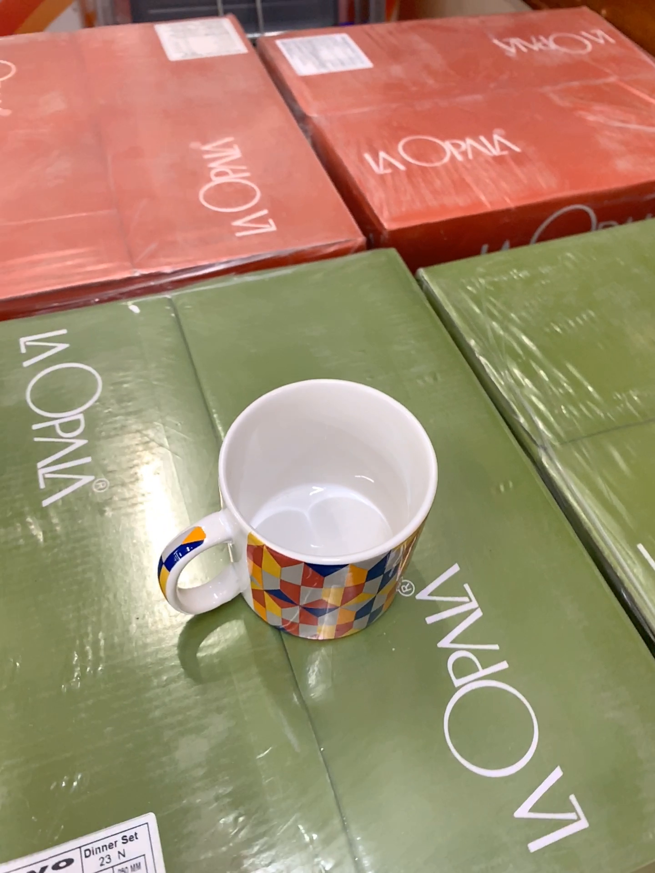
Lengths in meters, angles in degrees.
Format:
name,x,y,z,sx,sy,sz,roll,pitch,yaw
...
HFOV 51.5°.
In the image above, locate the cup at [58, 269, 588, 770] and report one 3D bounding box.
name,x,y,z,sx,sy,sz,roll,pitch,yaw
cup,-0.003,0.027,0.242,0.130,0.100,0.090,-28,59,-23
